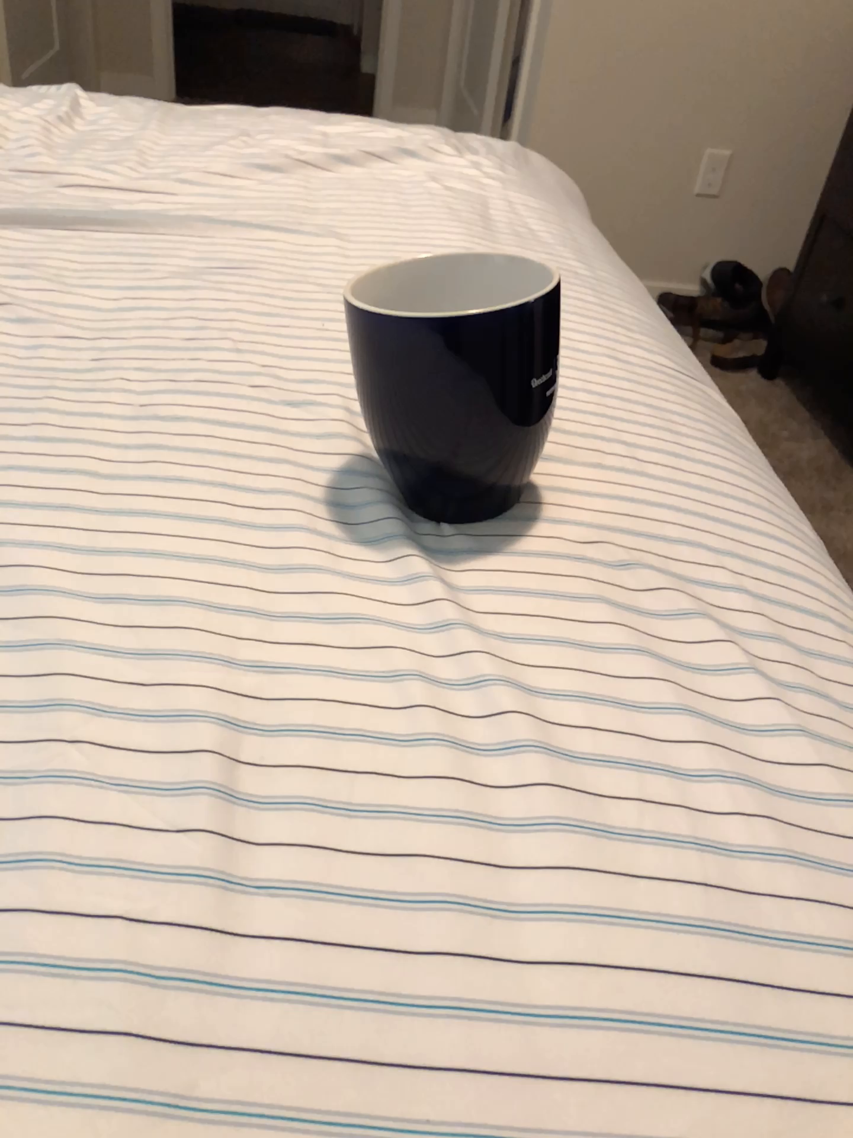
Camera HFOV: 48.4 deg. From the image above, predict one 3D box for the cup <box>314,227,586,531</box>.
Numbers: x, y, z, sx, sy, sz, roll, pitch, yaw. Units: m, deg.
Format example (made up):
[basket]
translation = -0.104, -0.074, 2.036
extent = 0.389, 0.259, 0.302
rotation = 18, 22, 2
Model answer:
[cup]
translation = 0.018, -0.096, 0.449
extent = 0.090, 0.090, 0.131
rotation = 8, 36, 15
